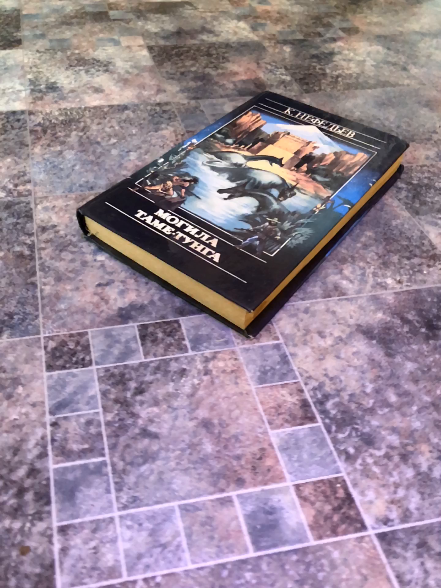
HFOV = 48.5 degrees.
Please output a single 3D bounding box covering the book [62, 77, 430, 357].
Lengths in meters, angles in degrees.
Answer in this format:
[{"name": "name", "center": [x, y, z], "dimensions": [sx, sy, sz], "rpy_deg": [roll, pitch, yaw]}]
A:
[{"name": "book", "center": [0.025, -0.070, 0.319], "dimensions": [0.139, 0.030, 0.202], "rpy_deg": [31, 55, 23]}]
